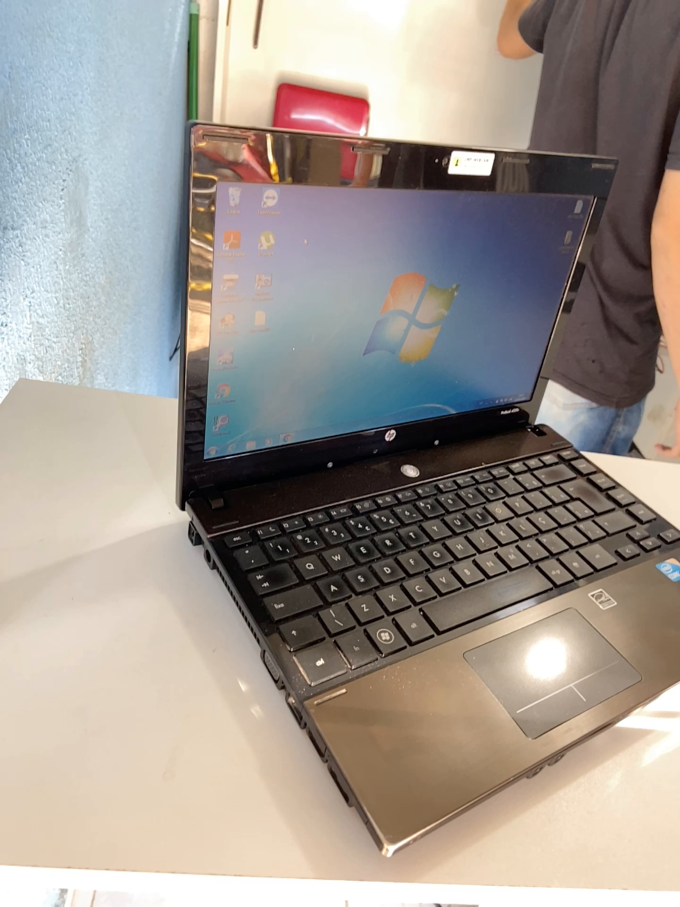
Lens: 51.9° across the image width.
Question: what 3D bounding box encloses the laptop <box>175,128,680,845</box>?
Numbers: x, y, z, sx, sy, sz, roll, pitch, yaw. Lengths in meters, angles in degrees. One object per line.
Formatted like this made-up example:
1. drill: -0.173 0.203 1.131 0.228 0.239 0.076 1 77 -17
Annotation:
1. laptop: 0.108 -0.028 0.397 0.322 0.207 0.260 -11 40 -30
